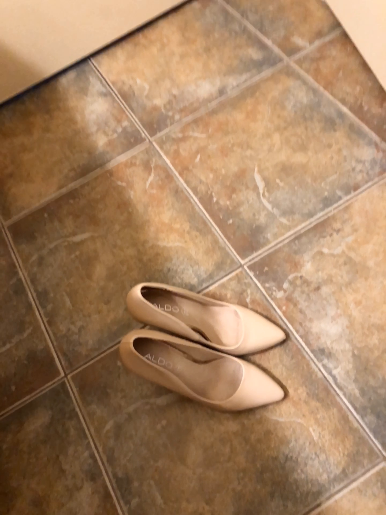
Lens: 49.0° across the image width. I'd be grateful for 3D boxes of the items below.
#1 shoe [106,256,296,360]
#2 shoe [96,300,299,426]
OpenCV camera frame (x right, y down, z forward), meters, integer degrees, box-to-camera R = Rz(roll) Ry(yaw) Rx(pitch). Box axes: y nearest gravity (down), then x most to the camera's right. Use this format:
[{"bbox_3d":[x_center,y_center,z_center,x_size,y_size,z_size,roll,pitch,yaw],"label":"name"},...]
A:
[{"bbox_3d":[0.019,0.071,0.585,0.230,0.130,0.080,5,65,13],"label":"shoe"},{"bbox_3d":[0.014,0.144,0.566,0.230,0.150,0.080,11,67,16],"label":"shoe"}]
